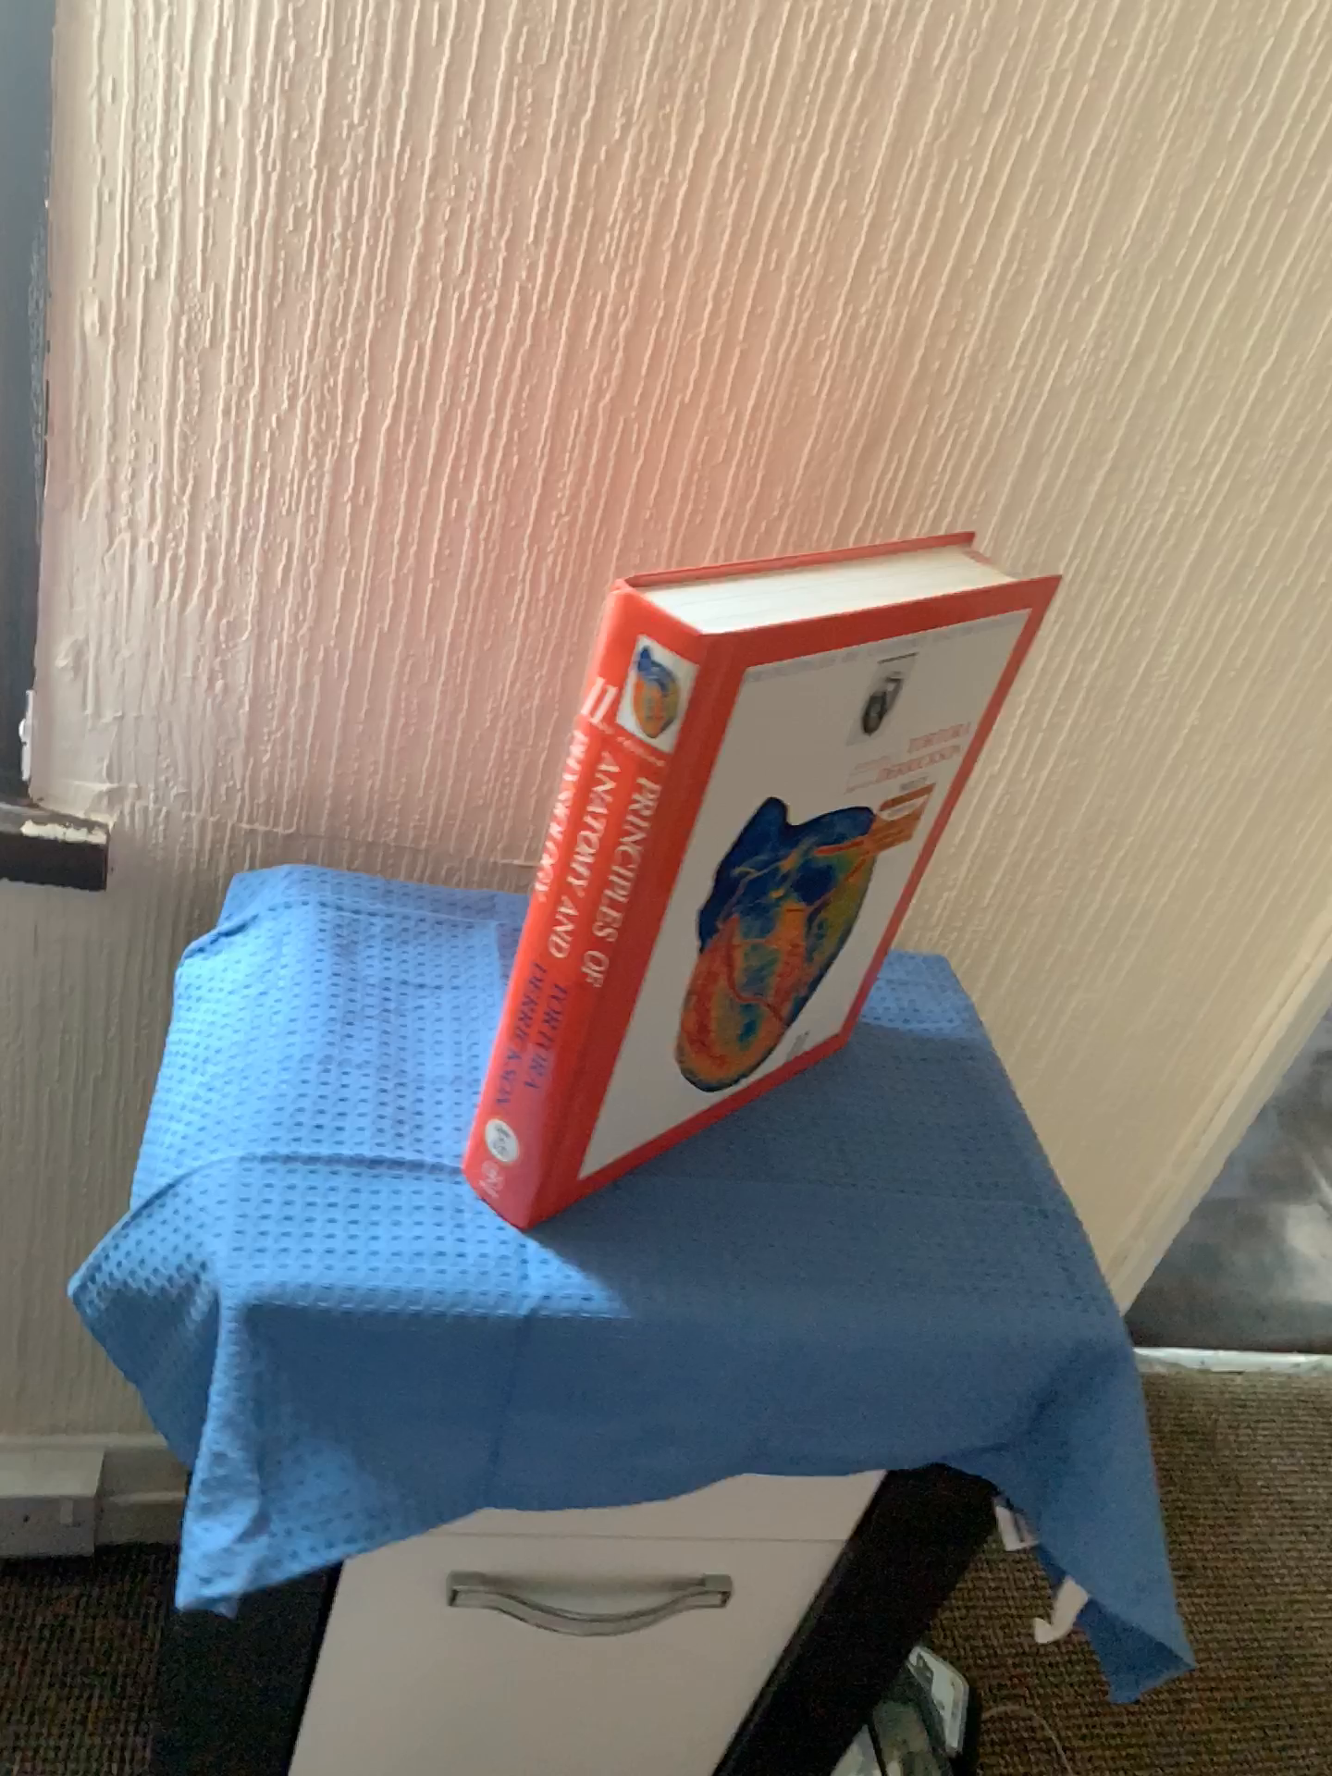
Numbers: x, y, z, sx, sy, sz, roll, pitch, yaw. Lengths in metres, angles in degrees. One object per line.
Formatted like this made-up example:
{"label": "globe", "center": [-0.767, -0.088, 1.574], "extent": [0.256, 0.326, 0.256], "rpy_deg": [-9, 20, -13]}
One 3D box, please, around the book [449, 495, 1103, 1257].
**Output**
{"label": "book", "center": [0.049, -0.015, 0.595], "extent": [0.060, 0.287, 0.261], "rpy_deg": [35, 35, 30]}
